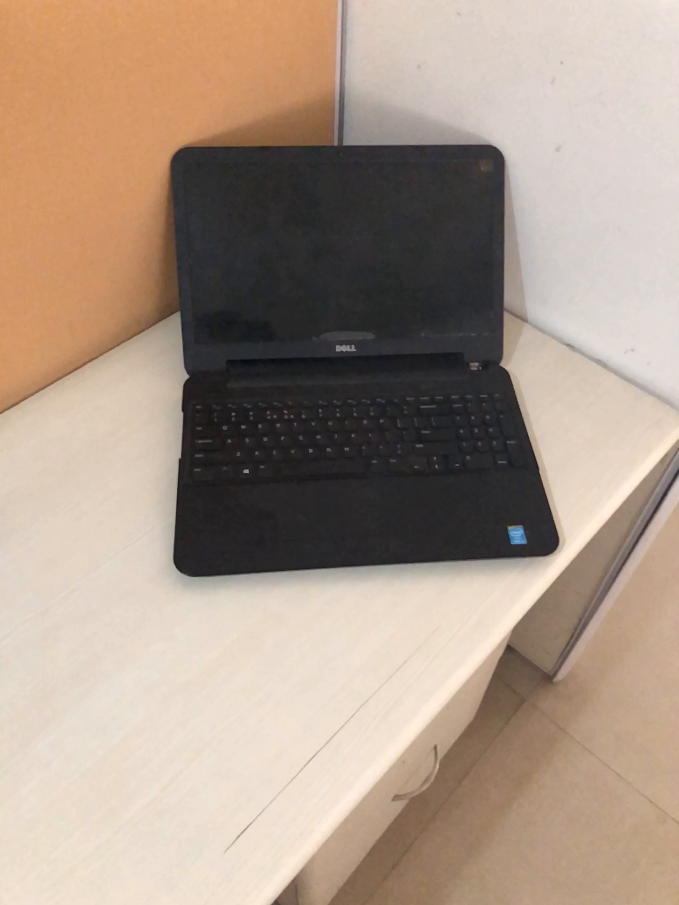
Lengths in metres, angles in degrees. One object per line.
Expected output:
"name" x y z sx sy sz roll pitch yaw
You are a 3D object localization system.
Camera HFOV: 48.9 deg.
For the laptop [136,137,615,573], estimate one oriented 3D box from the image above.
"laptop" 0.011 -0.118 0.740 0.352 0.175 0.415 -2 52 -4
